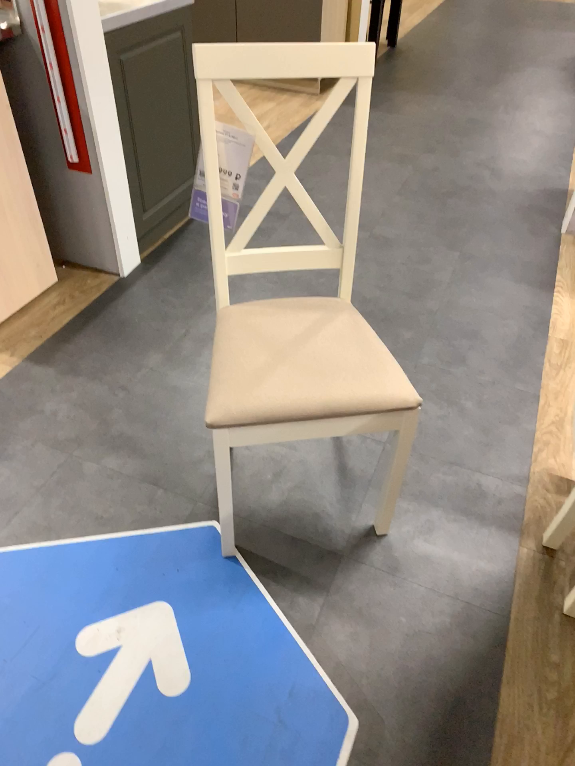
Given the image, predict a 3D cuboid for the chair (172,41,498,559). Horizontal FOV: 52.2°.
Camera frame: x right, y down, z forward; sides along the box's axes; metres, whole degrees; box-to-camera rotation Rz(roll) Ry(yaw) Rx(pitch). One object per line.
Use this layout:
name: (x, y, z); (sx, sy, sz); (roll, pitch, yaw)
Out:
chair: (0.020, -0.136, 1.310); (0.435, 0.989, 0.530); (-5, 43, -8)
